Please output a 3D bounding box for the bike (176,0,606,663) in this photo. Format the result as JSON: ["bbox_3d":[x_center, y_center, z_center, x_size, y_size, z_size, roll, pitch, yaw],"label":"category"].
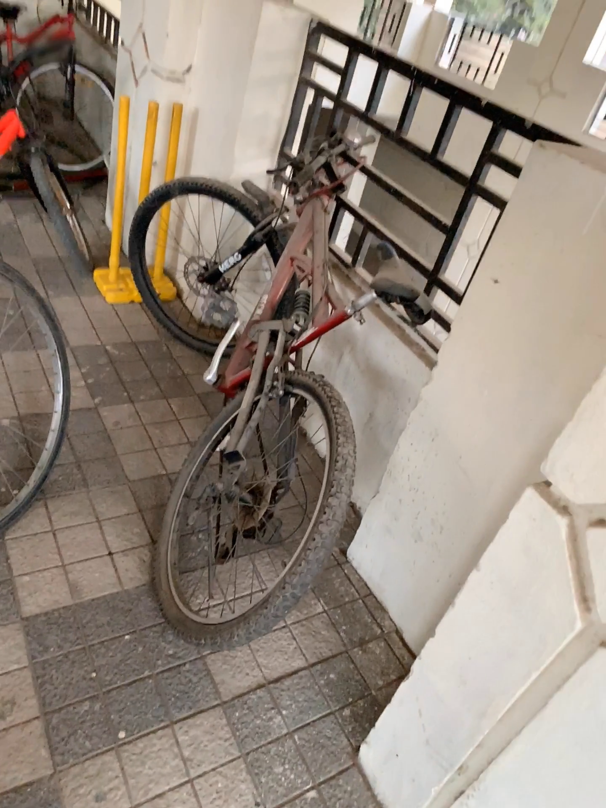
[{"bbox_3d":[0.111,-0.313,1.693,0.609,0.830,1.471,0,46,-24],"label":"bike"}]
